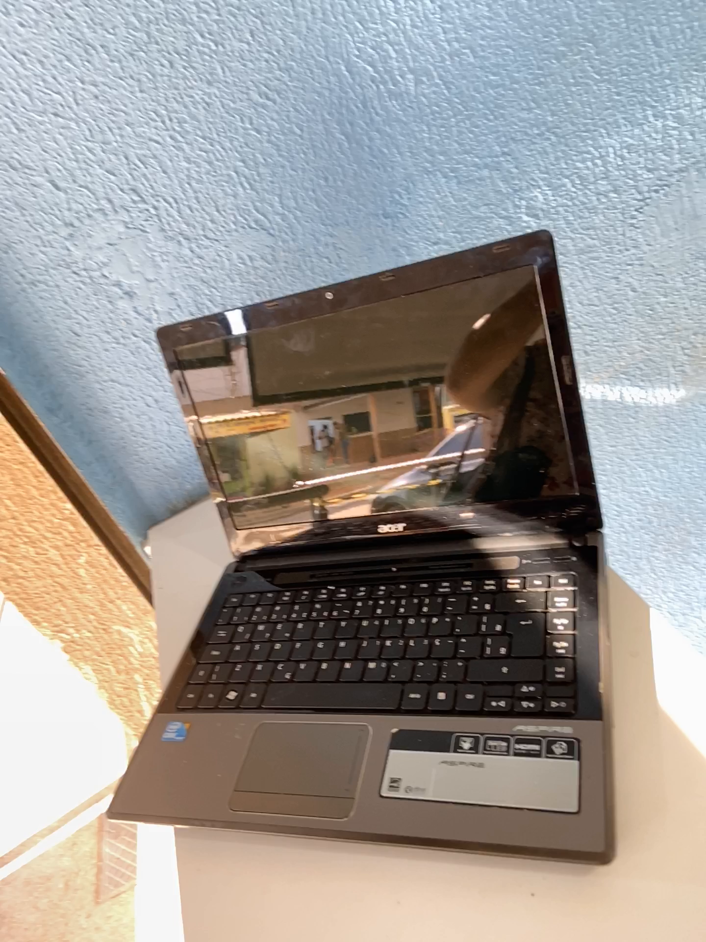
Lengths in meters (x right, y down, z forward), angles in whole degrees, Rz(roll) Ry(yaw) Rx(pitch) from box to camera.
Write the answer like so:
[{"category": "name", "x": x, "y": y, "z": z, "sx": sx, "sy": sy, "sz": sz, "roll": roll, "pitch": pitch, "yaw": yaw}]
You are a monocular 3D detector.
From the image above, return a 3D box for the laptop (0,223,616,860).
[{"category": "laptop", "x": -0.018, "y": 0.037, "z": 0.497, "sx": 0.337, "sy": 0.207, "sz": 0.319, "roll": -8, "pitch": 37, "yaw": 24}]
